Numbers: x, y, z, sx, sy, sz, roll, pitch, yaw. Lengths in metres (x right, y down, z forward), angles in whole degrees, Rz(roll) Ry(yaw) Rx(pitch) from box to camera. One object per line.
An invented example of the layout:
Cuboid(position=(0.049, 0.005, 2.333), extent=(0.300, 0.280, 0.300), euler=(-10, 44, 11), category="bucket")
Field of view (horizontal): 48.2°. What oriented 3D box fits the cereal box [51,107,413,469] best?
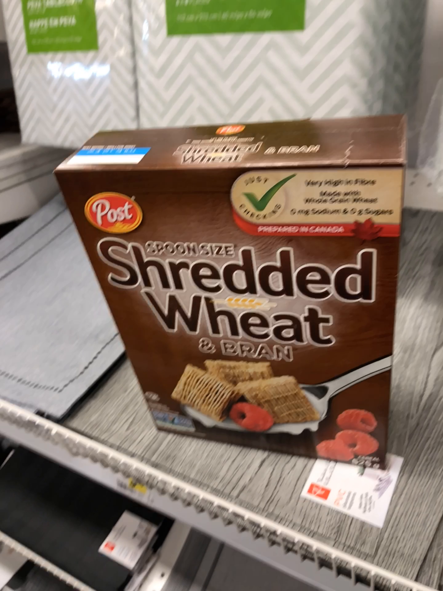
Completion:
Cuboid(position=(0.023, 0.008, 0.367), extent=(0.200, 0.259, 0.070), euler=(5, 41, 19), category="cereal box")
